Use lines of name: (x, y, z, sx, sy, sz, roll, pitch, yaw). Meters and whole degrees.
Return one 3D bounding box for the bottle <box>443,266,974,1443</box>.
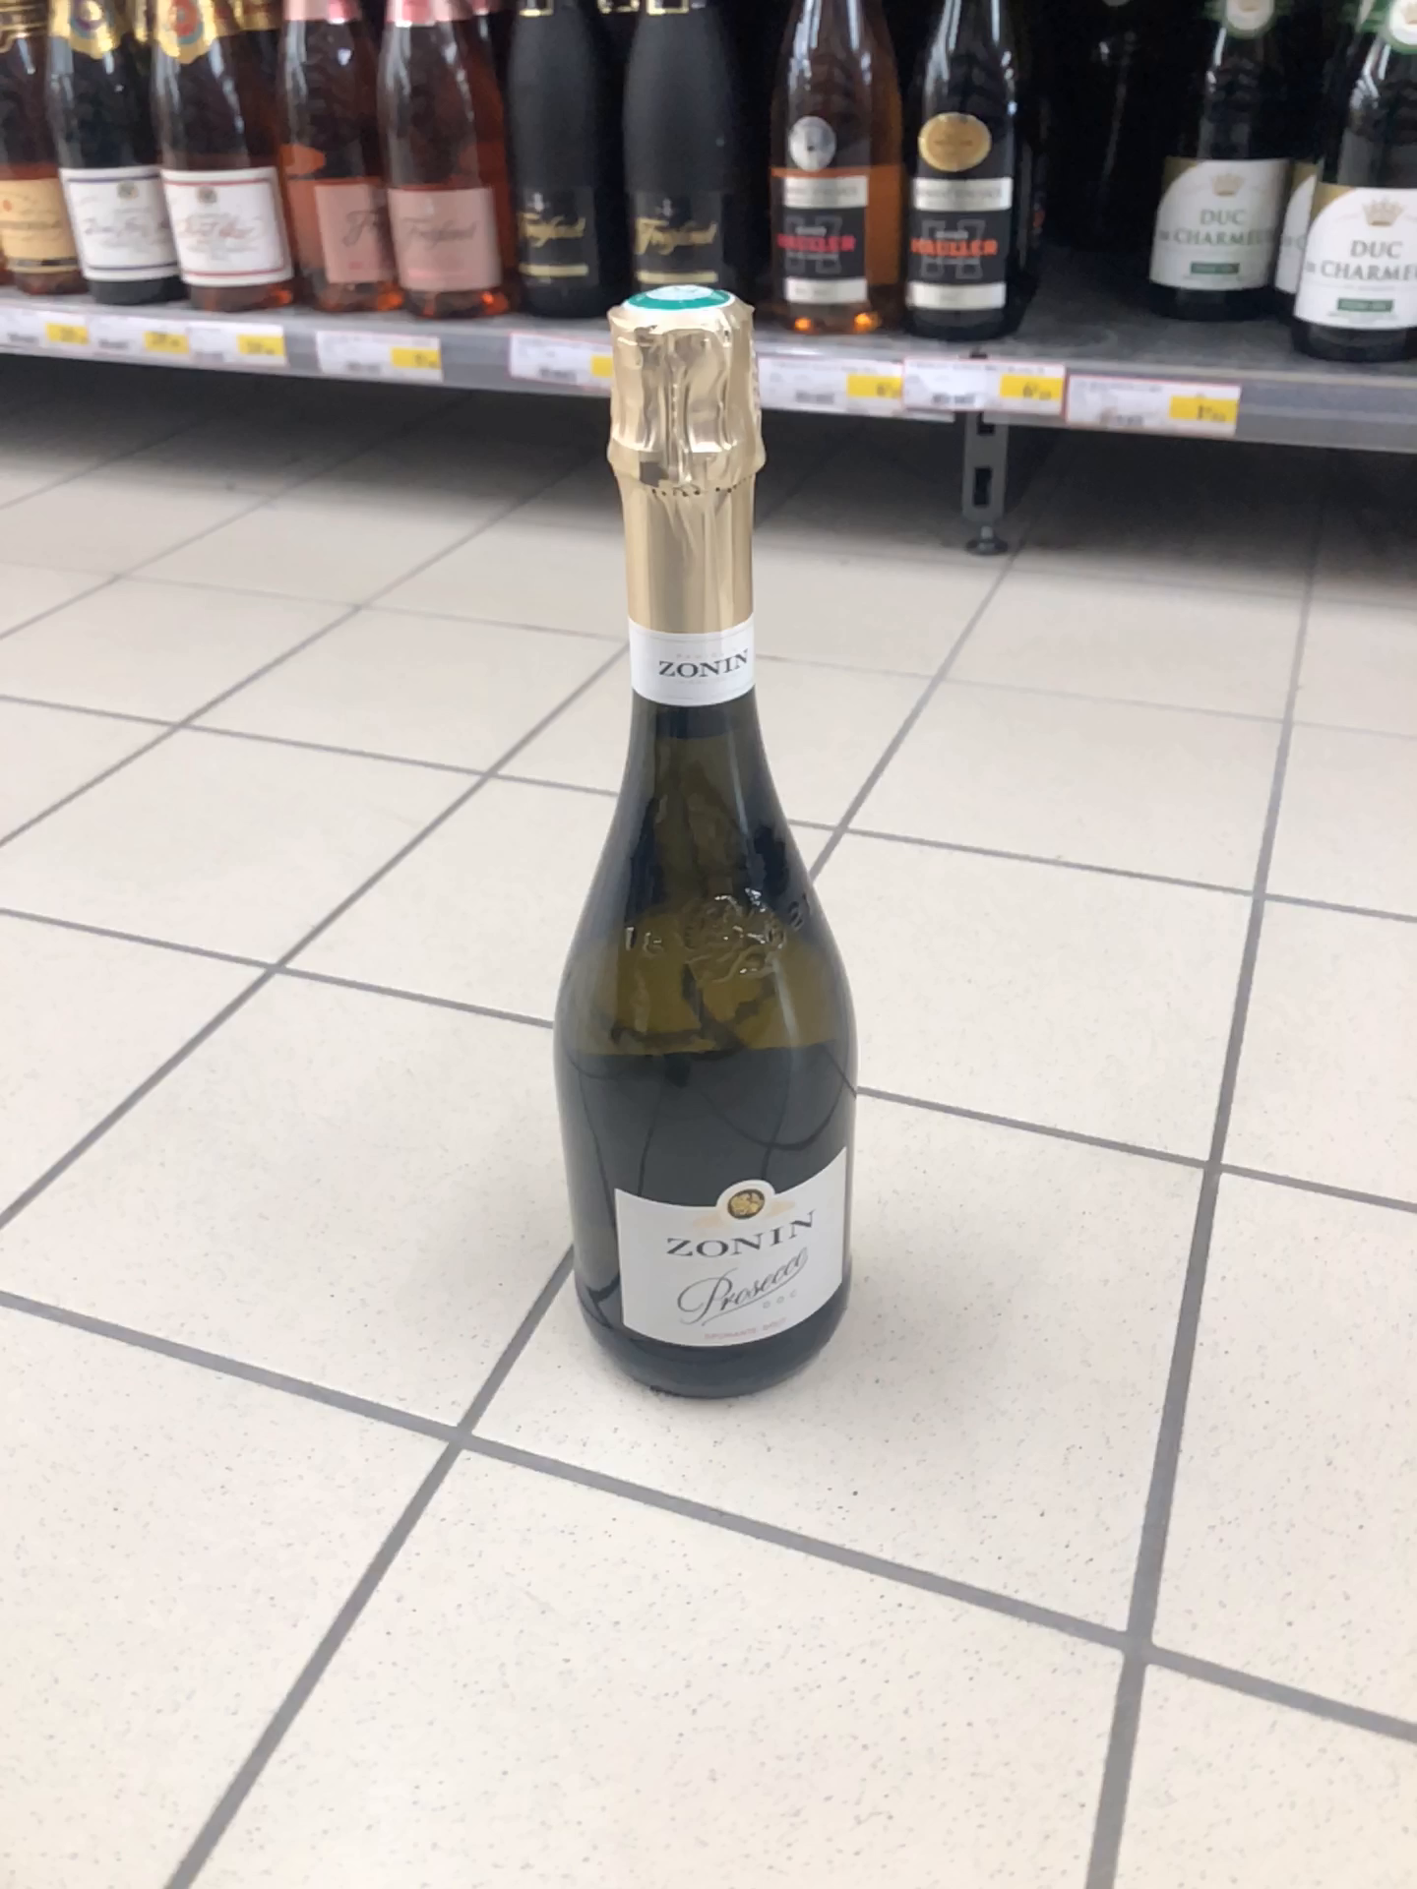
bottle: (0.000, -0.013, 0.437, 0.100, 0.308, 0.090, -10, 32, -13)
